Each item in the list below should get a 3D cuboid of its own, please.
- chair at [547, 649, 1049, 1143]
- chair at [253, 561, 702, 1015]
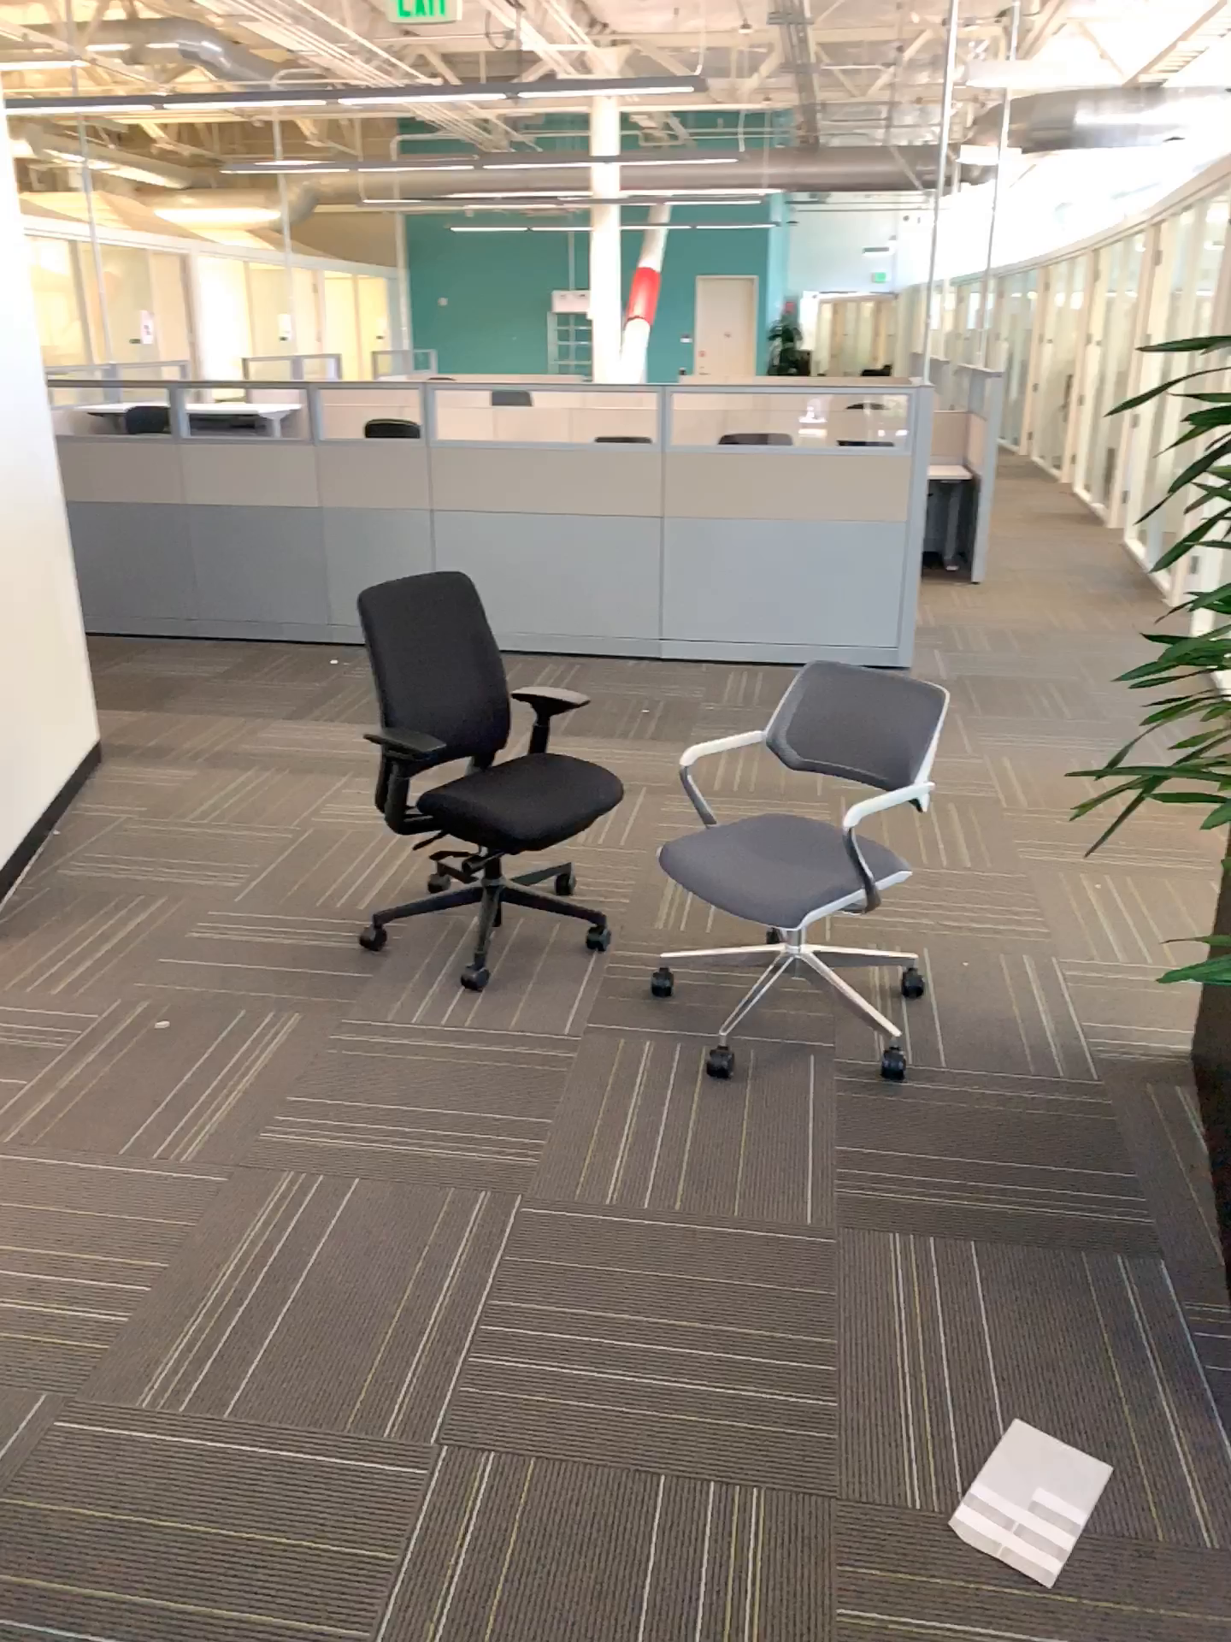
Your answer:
[{"bbox_3d":[0.406,0.098,2.953,0.791,0.756,0.803,-19,28,-40],"label":"chair"},{"bbox_3d":[-0.360,-0.161,3.408,0.853,0.886,0.801,19,28,41],"label":"chair"}]
